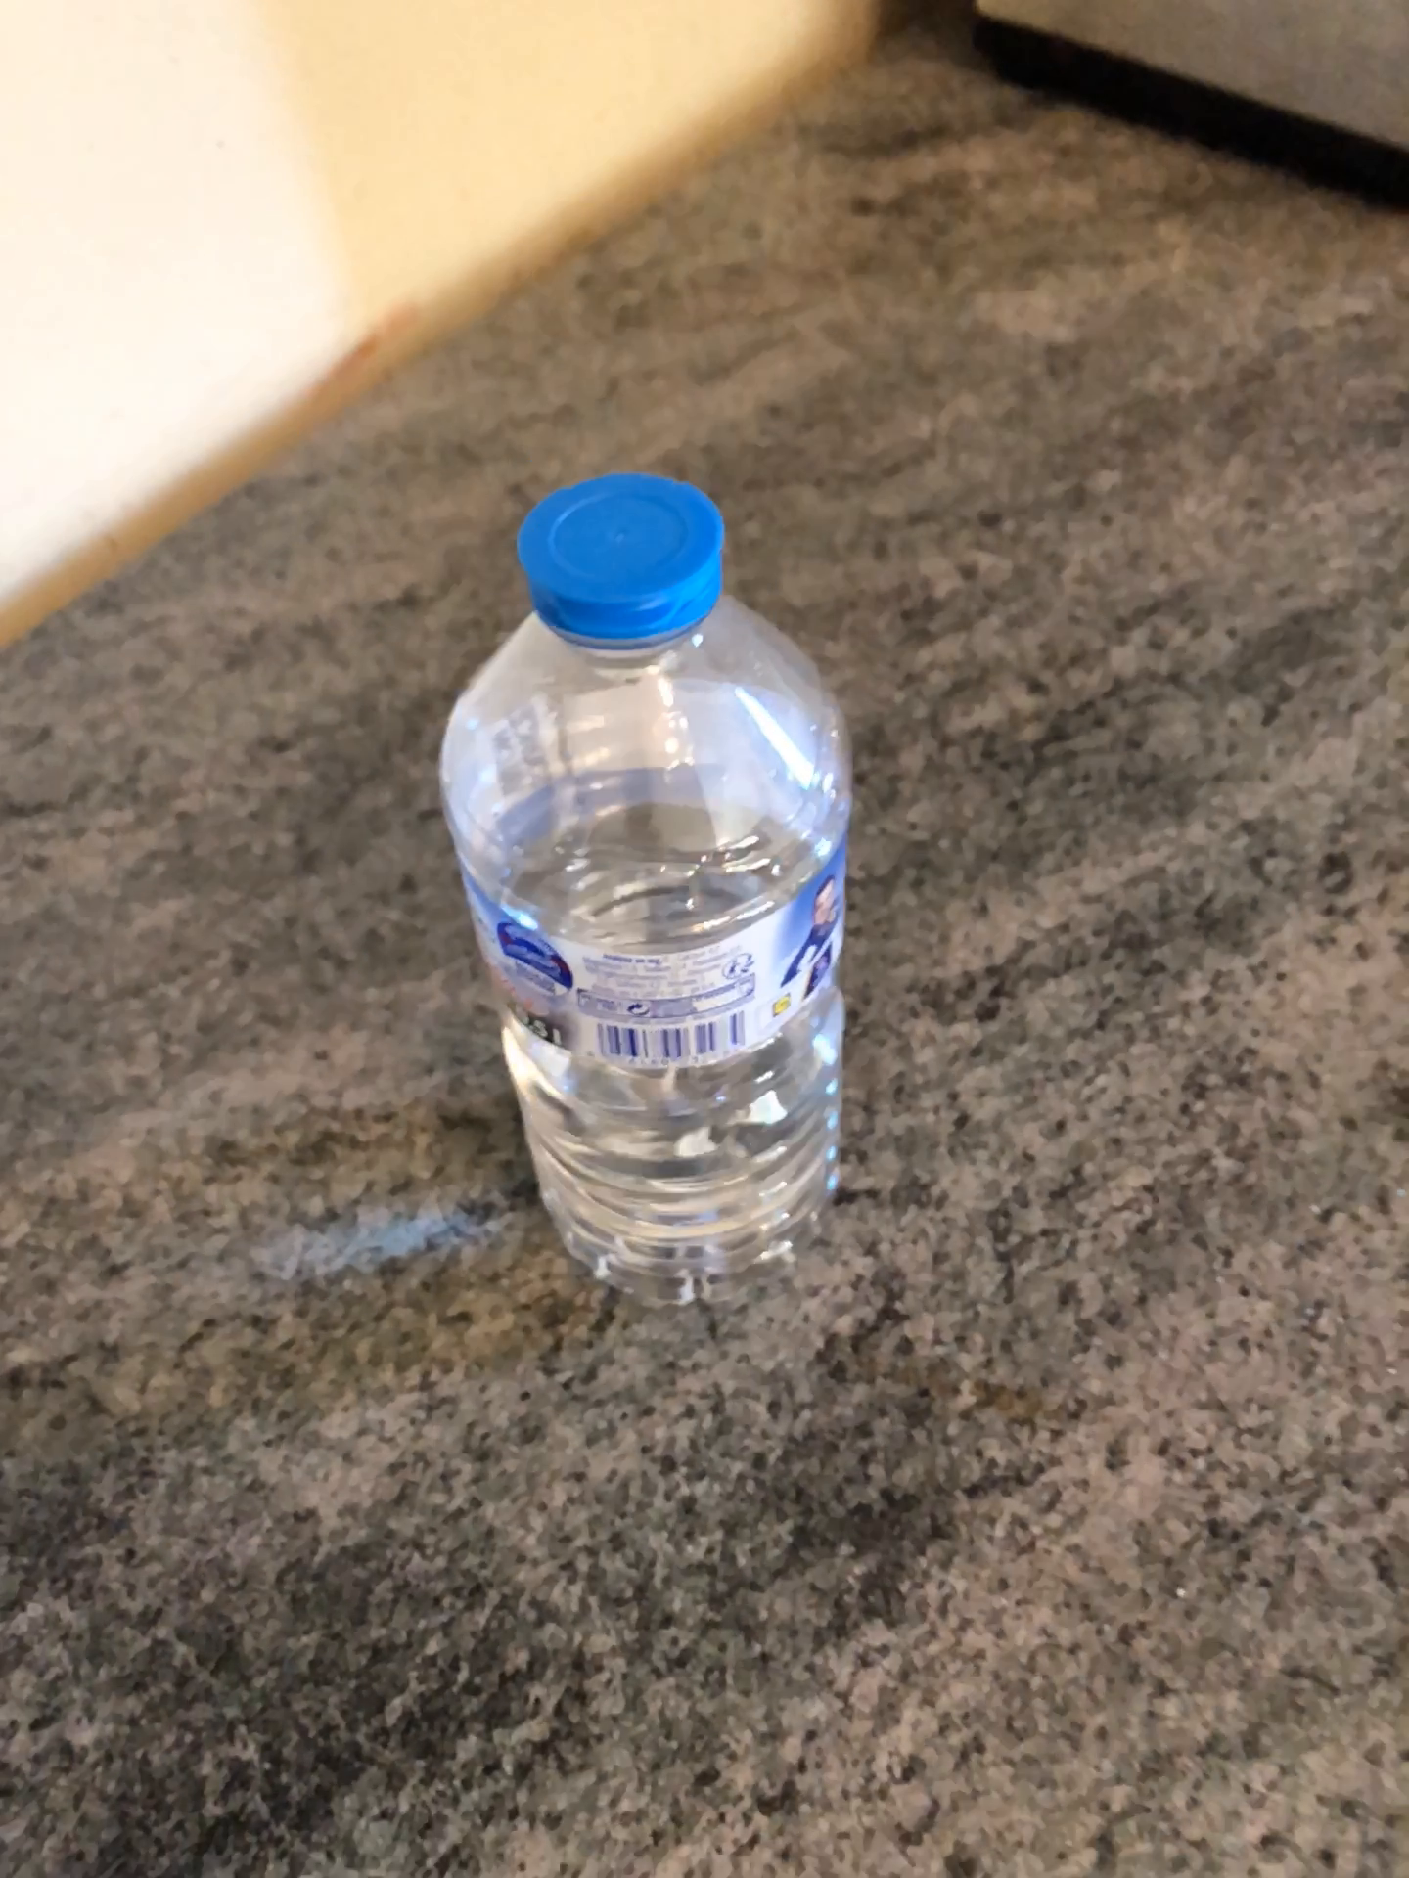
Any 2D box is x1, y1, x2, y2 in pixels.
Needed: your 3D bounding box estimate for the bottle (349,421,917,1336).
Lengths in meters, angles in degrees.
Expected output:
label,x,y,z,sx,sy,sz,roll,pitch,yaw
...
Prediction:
label,x,y,z,sx,sy,sz,roll,pitch,yaw
bottle,-0.003,0.002,0.281,0.070,0.169,0.070,-2,52,2
